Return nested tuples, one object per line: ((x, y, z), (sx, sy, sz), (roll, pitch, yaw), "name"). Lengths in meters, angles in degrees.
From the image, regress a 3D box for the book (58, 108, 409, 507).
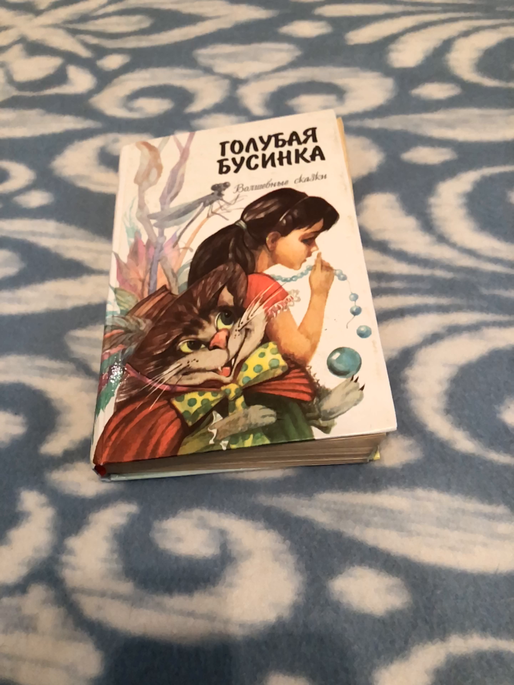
((-0.015, -0.029, 0.304), (0.145, 0.040, 0.207), (-8, 58, 6), "book")
